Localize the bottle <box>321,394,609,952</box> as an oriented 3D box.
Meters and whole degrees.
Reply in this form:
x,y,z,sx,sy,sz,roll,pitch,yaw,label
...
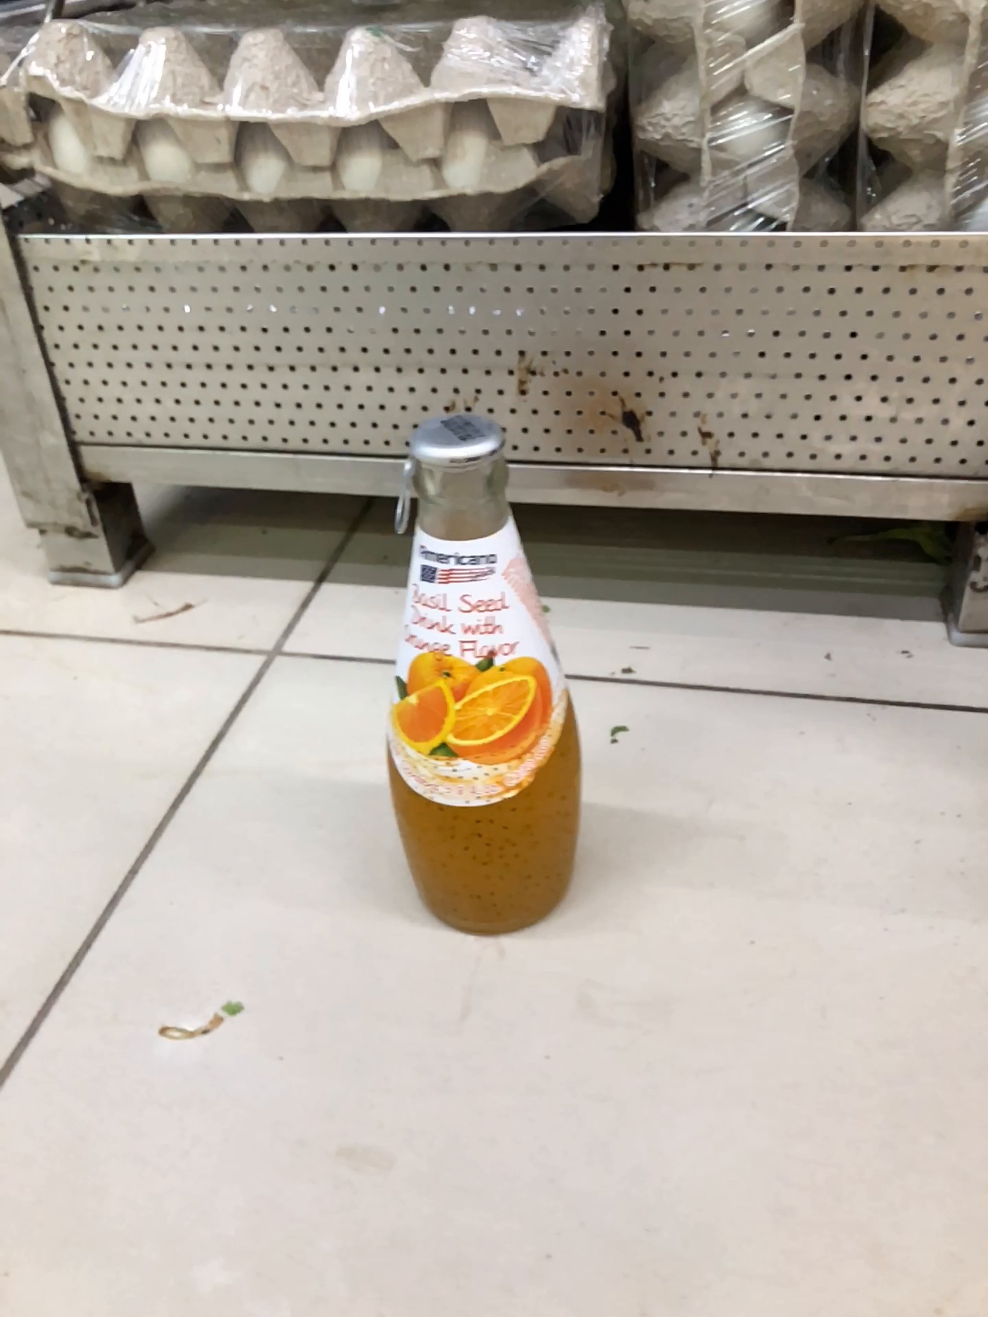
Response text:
x,y,z,sx,sy,sz,roll,pitch,yaw,label
0.000,0.009,0.356,0.070,0.169,0.070,-3,34,2,bottle
